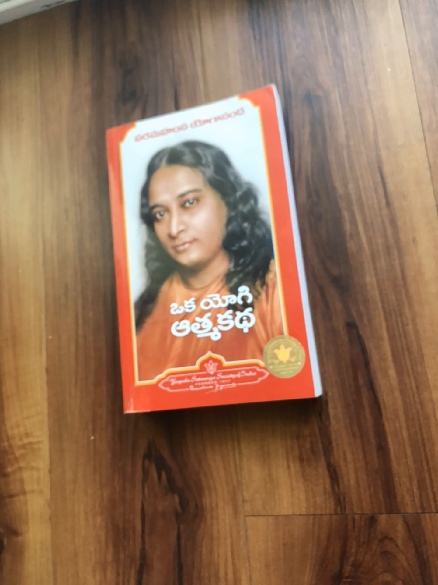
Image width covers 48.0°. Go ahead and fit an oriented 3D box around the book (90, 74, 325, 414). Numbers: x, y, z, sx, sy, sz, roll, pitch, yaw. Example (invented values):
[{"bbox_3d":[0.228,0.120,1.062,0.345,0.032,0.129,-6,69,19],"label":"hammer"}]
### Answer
[{"bbox_3d":[-0.014,-0.029,0.349,0.148,0.030,0.214,-8,80,17],"label":"book"}]
